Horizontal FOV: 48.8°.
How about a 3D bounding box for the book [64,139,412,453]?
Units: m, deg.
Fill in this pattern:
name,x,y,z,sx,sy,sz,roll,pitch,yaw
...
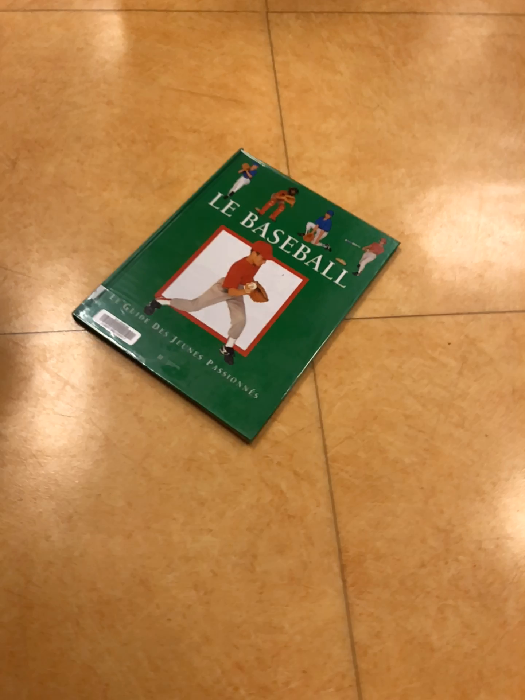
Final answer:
name,x,y,z,sx,sy,sz,roll,pitch,yaw
book,-0.015,-0.073,0.580,0.219,0.020,0.281,34,66,12
